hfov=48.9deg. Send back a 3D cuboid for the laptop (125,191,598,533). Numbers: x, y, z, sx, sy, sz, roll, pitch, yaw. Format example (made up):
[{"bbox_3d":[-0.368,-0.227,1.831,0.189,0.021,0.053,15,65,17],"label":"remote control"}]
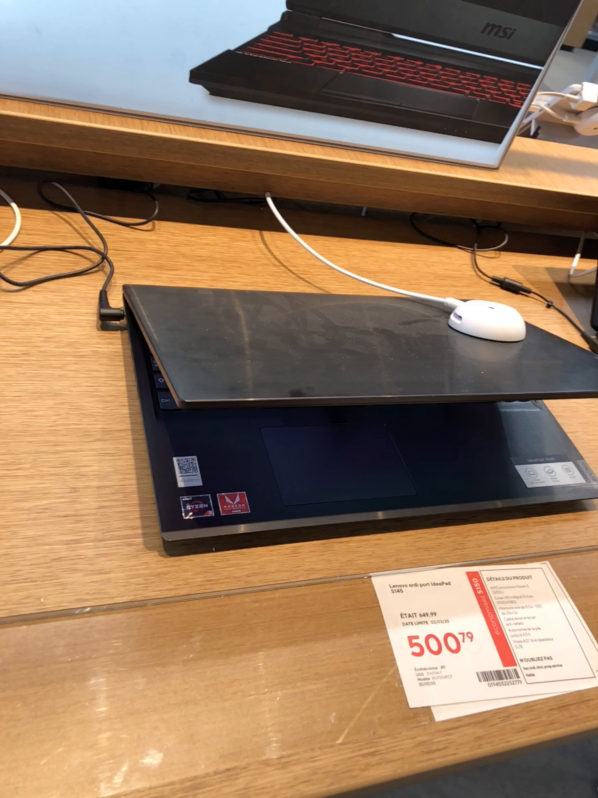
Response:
[{"bbox_3d":[0.052,-0.039,0.493,0.331,0.083,0.224,-1,48,-25],"label":"laptop"}]
